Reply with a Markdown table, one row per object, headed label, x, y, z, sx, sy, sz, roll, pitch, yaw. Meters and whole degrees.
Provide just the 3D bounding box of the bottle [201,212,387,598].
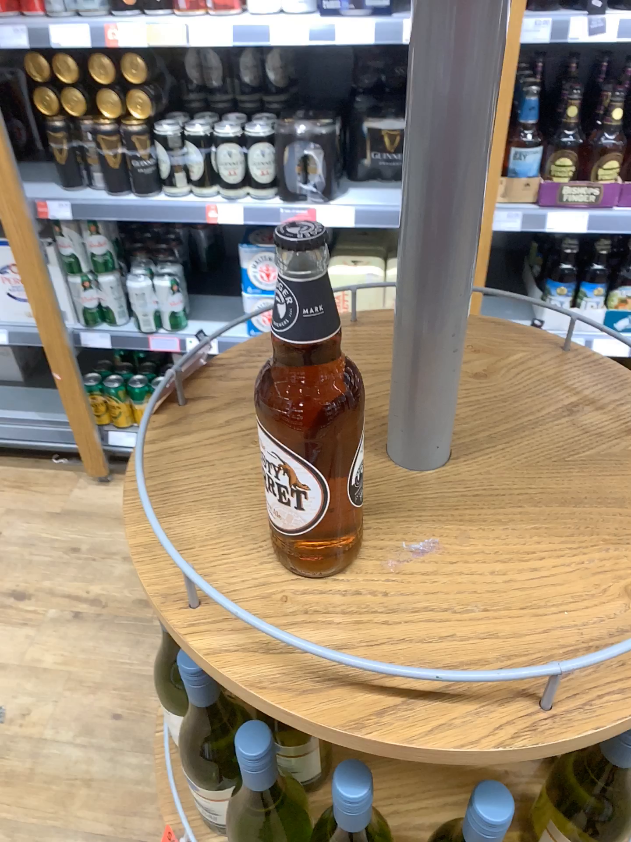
| label | x | y | z | sx | sy | sz | roll | pitch | yaw |
| --- | --- | --- | --- | --- | --- | --- | --- | --- | --- |
| bottle | -0.010 | 0.001 | 0.404 | 0.076 | 0.230 | 0.069 | -1 | 39 | 1 |
